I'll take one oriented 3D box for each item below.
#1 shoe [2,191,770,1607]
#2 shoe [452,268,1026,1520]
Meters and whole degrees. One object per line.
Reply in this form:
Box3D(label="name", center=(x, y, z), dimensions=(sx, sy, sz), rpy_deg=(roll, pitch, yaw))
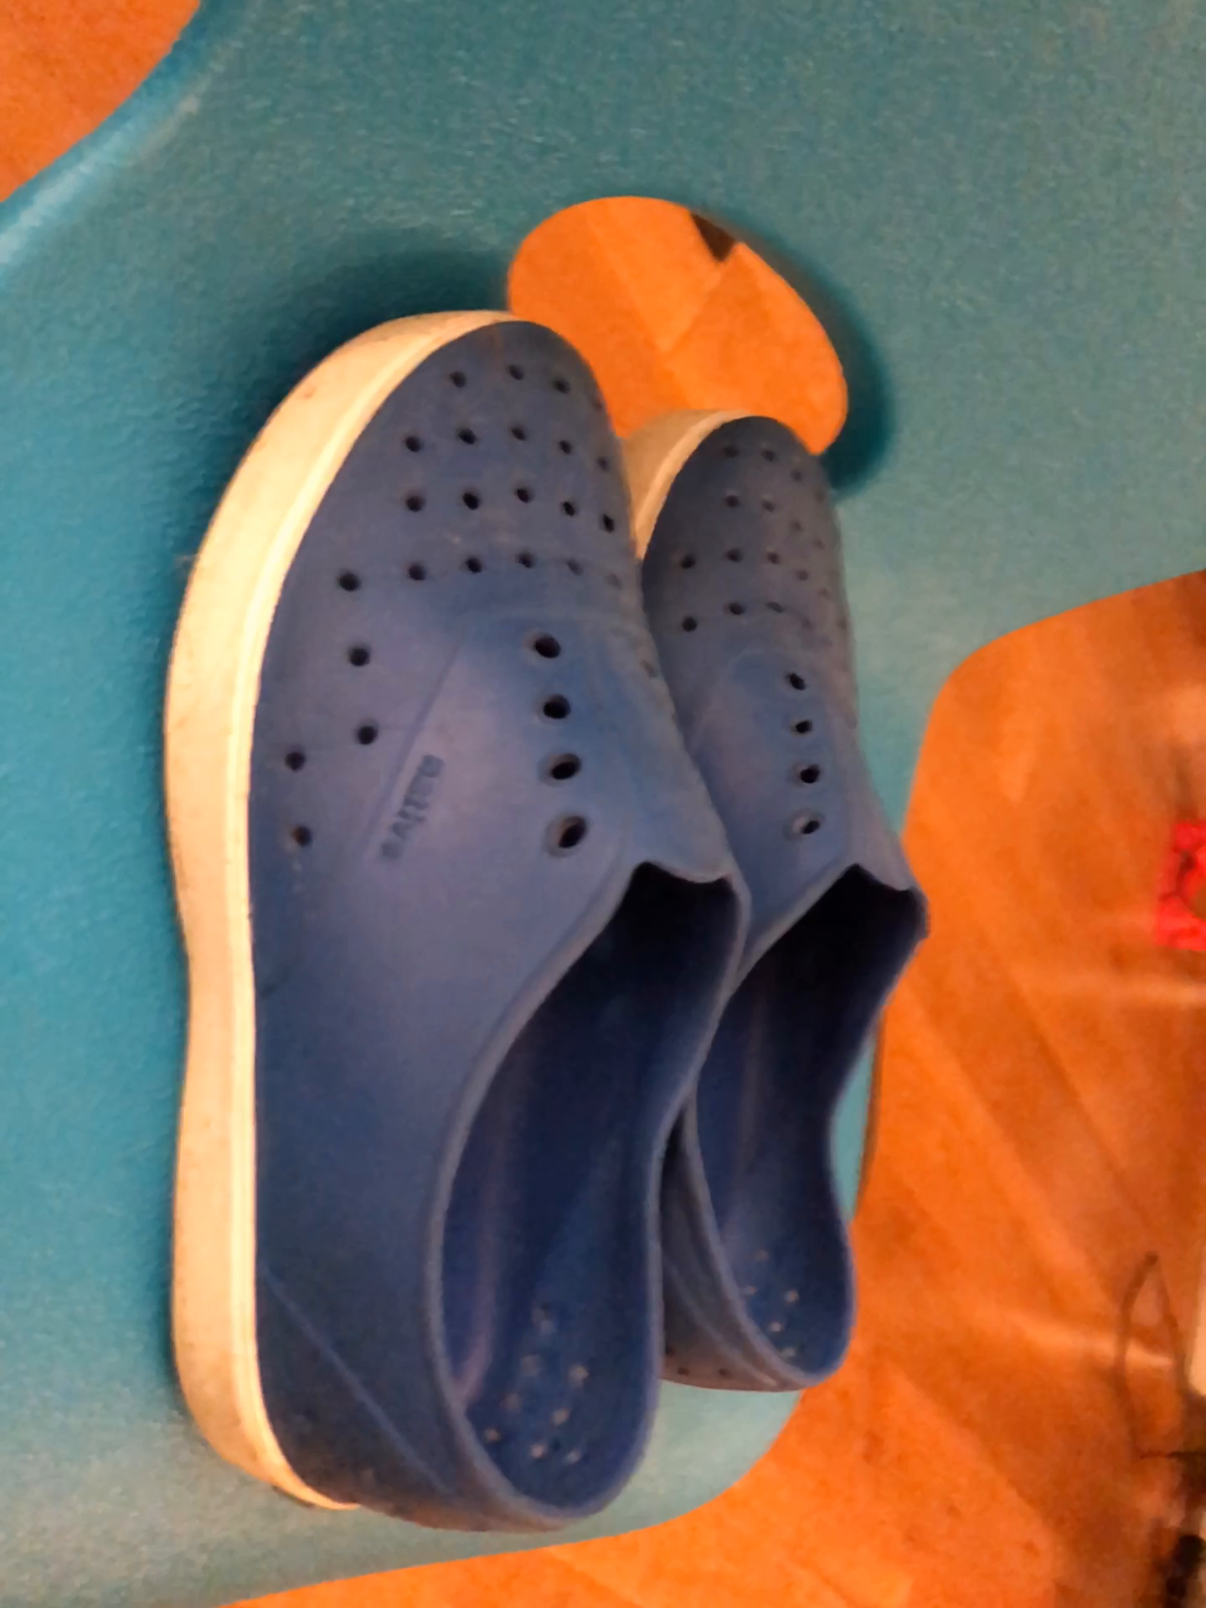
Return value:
Box3D(label="shoe", center=(-0.036, 0.016, 0.252), dimensions=(0.090, 0.080, 0.210), rpy_deg=(13, 81, -49))
Box3D(label="shoe", center=(0.038, 0.018, 0.315), dimensions=(0.101, 0.070, 0.240), rpy_deg=(13, 81, -49))
